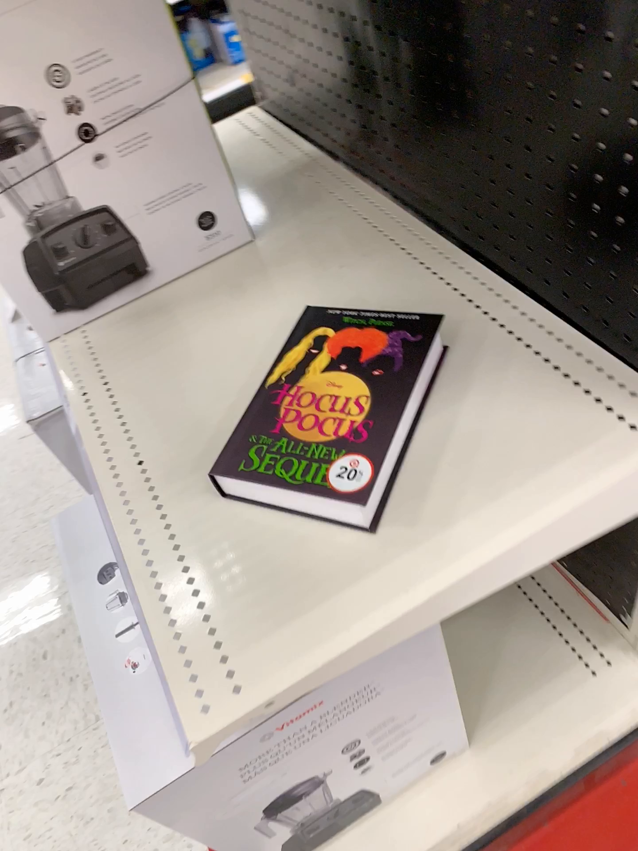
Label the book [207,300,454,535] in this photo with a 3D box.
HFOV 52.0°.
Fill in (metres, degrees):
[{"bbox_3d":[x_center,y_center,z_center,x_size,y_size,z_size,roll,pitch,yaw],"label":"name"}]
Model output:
[{"bbox_3d":[0.019,-0.020,0.587,0.149,0.050,0.210,9,54,25],"label":"book"}]
